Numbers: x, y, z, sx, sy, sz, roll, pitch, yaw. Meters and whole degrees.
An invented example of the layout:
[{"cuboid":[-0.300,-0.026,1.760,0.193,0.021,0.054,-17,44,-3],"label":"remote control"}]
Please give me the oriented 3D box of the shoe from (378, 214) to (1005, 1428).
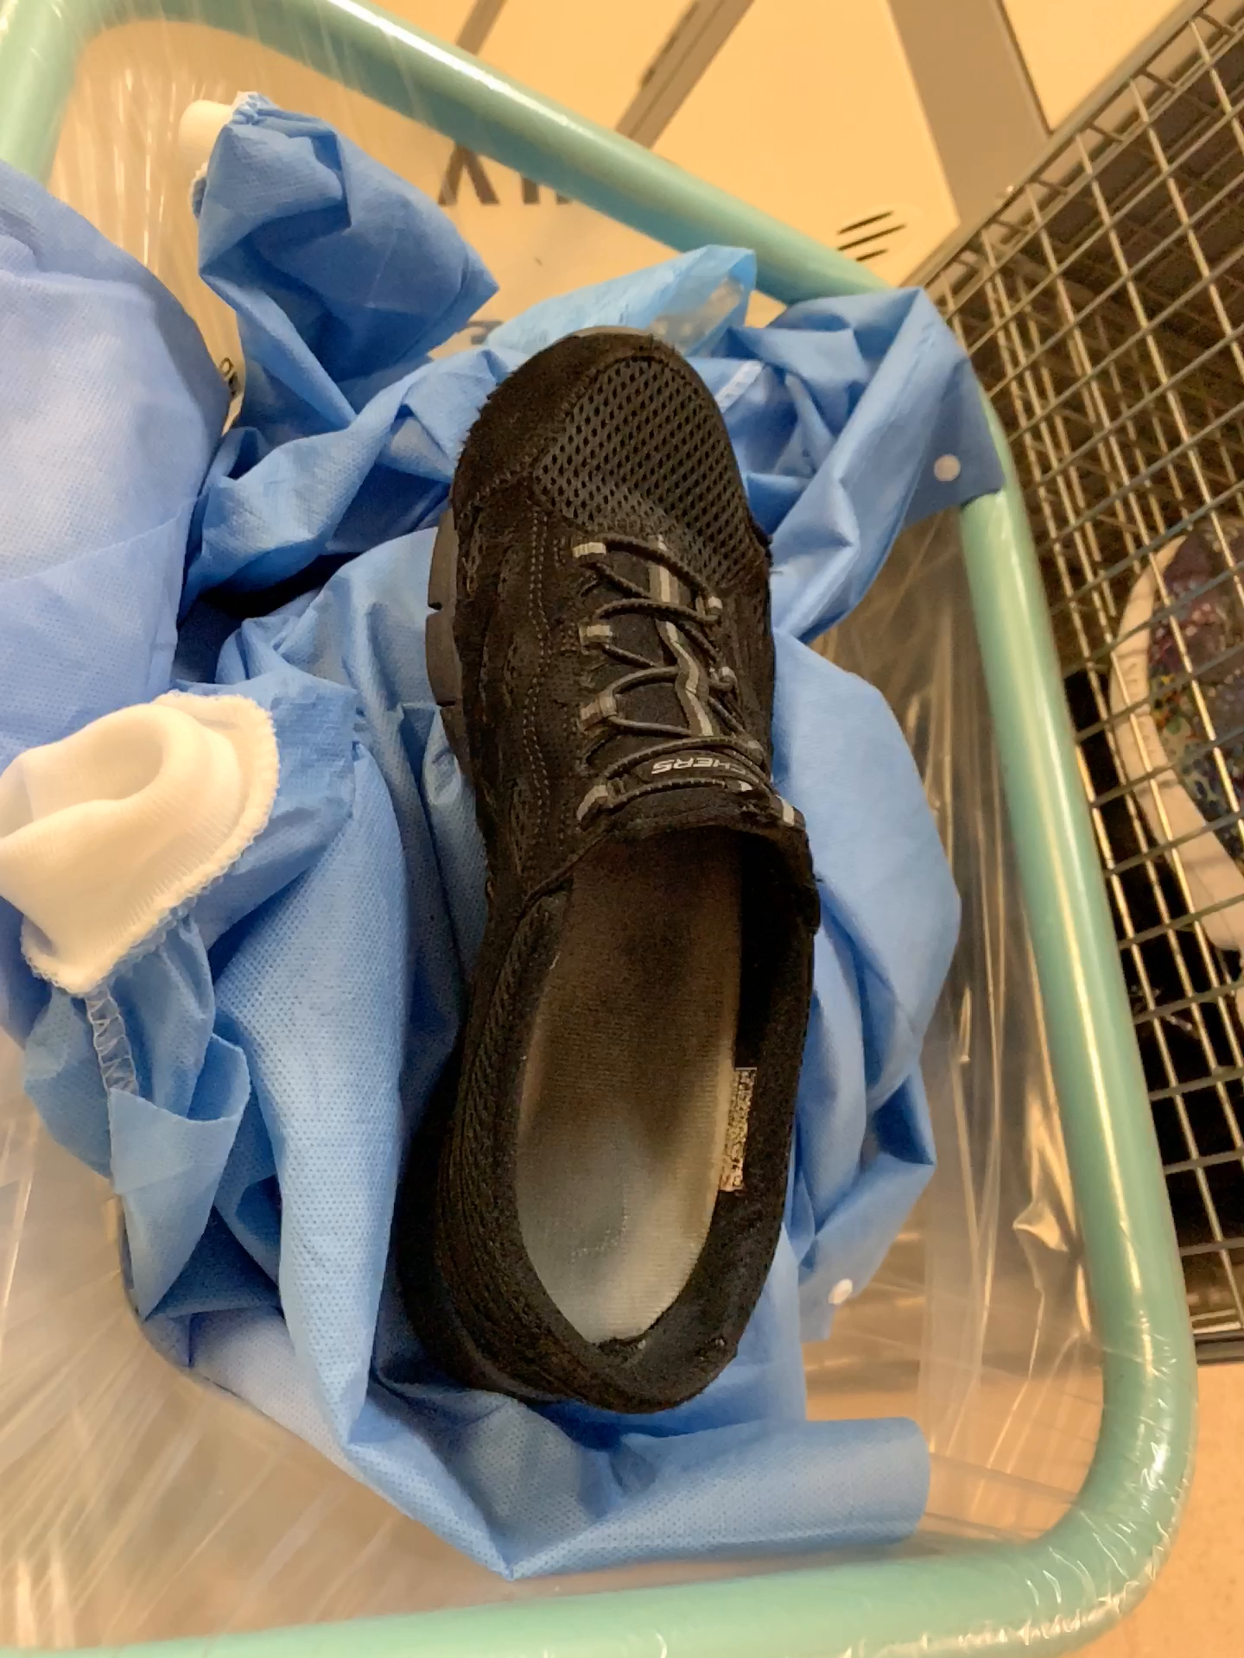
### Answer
[{"cuboid":[0.004,-0.002,0.306,0.088,0.094,0.255,11,64,-30],"label":"shoe"}]
